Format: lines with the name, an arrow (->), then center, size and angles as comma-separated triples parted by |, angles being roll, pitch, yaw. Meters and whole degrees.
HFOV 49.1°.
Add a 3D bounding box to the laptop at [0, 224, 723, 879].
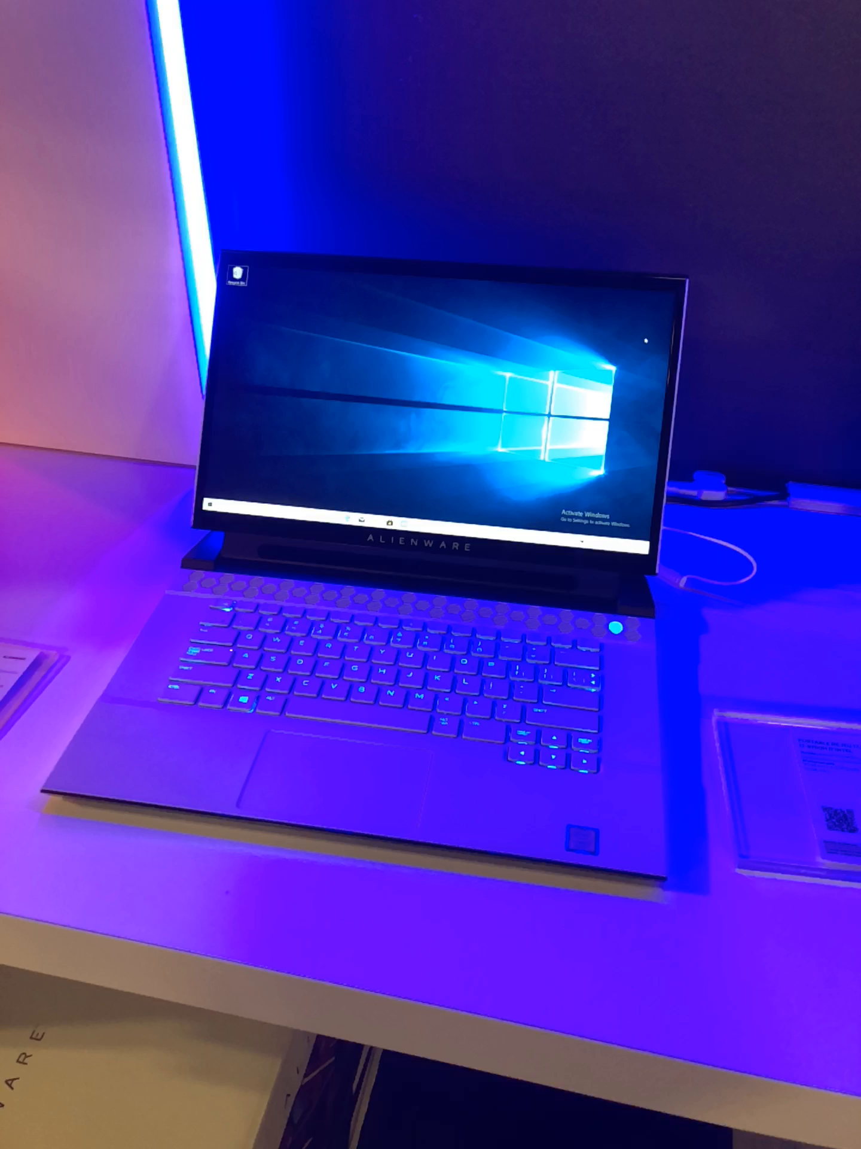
laptop -> -0.021, -0.055, 0.626 | 0.356, 0.194, 0.381 | 6, 39, 8
